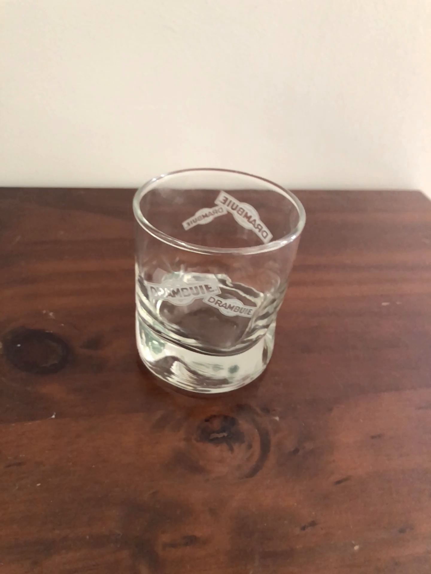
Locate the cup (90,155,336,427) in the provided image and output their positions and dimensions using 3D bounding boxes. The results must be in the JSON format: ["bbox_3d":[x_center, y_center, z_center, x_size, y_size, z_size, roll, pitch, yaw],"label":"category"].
[{"bbox_3d":[0.000,-0.003,0.235,0.082,0.080,0.081,4,36,-3],"label":"cup"}]
